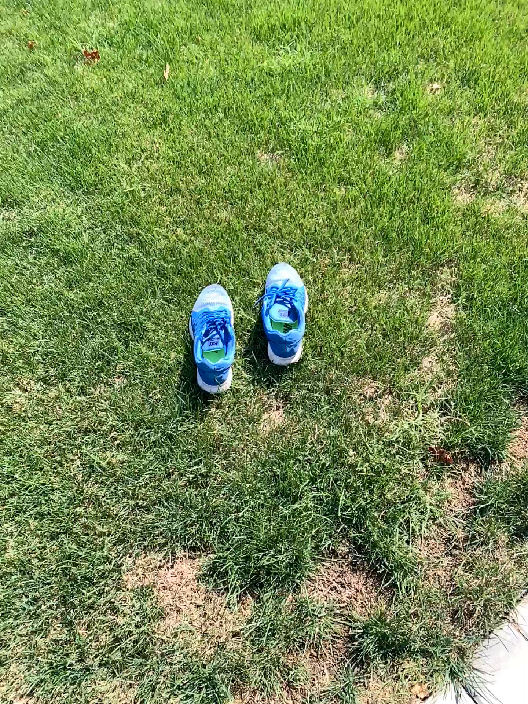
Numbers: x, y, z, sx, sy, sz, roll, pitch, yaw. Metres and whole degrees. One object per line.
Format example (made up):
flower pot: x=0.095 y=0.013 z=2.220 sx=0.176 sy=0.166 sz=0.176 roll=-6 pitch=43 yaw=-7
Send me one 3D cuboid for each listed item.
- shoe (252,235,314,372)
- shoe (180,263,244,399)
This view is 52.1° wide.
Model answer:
shoe: x=0.044 y=-0.117 z=1.283 sx=0.130 sy=0.140 sz=0.291 roll=-3 pitch=59 yaw=3
shoe: x=-0.114 y=-0.052 z=1.250 sx=0.120 sy=0.120 sz=0.291 roll=-3 pitch=59 yaw=3
